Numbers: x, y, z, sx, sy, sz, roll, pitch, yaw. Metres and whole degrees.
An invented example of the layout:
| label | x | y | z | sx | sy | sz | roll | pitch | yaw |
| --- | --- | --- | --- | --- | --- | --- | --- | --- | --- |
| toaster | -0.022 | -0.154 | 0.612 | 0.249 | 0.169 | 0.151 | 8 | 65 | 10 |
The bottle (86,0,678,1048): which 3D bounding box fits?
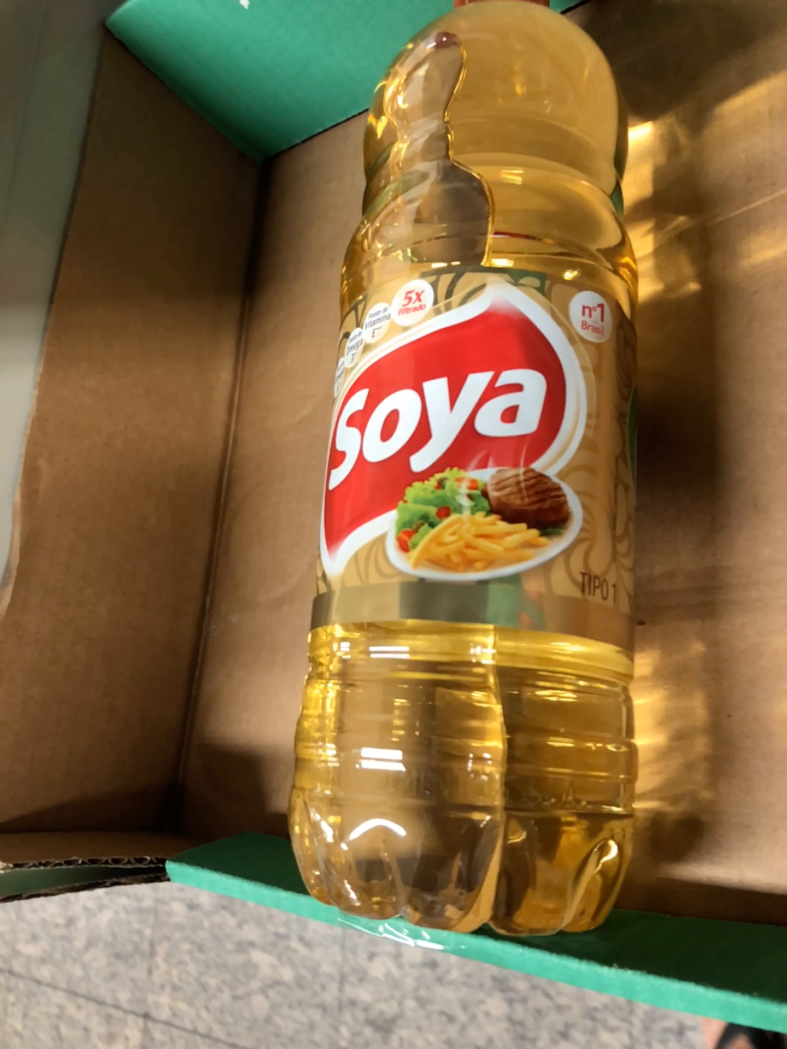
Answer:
| label | x | y | z | sx | sy | sz | roll | pitch | yaw |
| --- | --- | --- | --- | --- | --- | --- | --- | --- | --- |
| bottle | 0.006 | -0.025 | 0.183 | 0.080 | 0.070 | 0.210 | -4 | 75 | 36 |
